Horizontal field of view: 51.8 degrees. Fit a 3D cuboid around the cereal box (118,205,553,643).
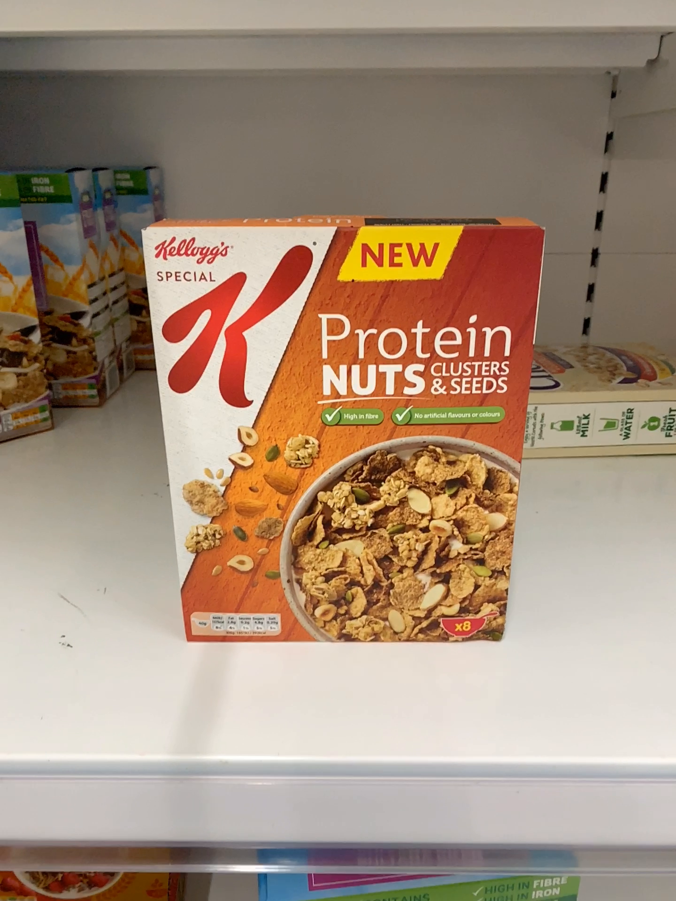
[{"bbox_3d":[0.000,-0.011,0.396,0.200,0.238,0.071,0,22,1],"label":"cereal box"}]
